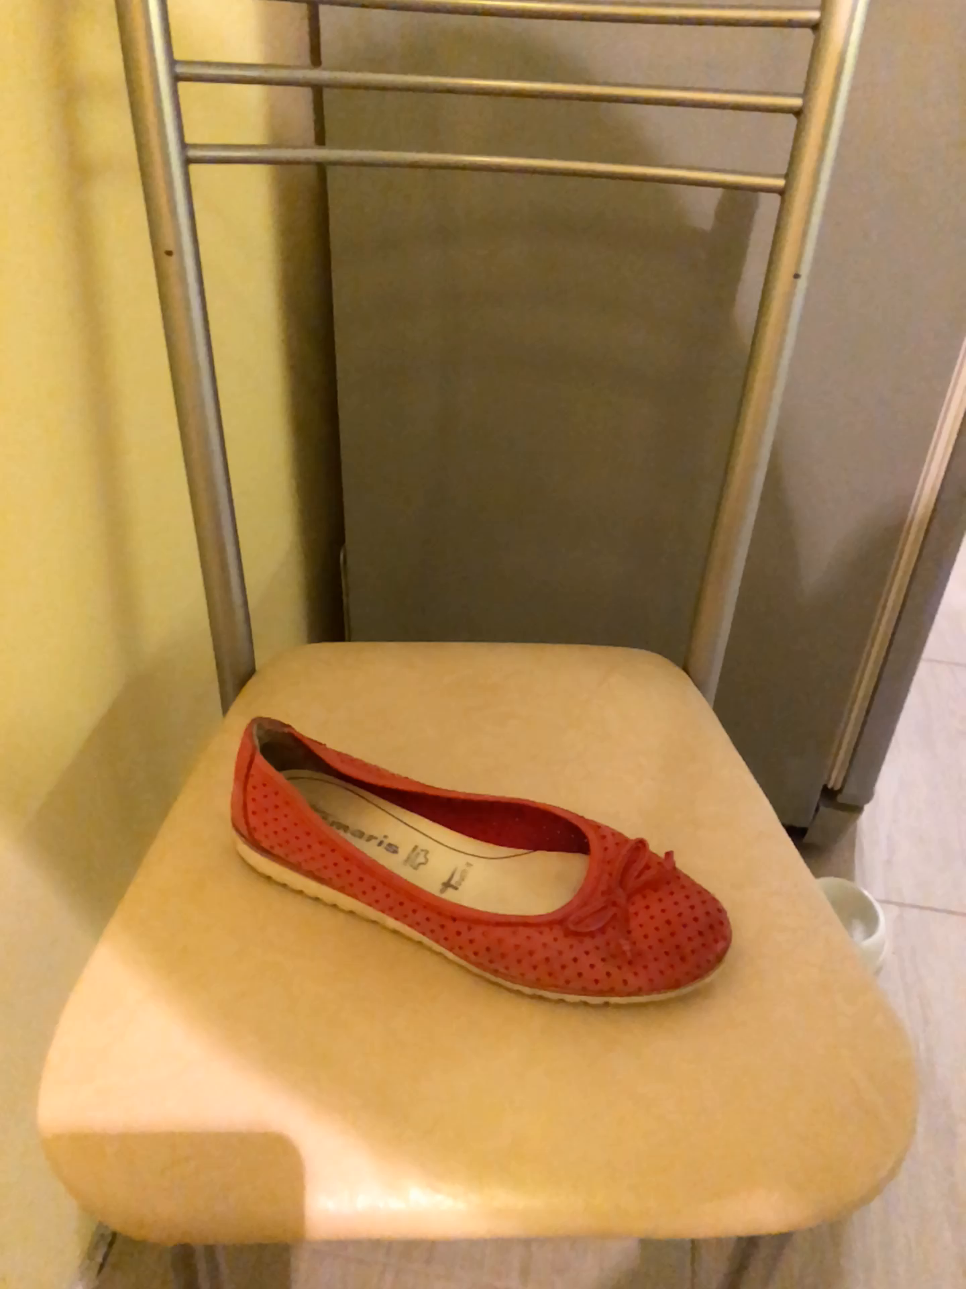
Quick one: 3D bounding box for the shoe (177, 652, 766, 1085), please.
[{"bbox_3d":[-0.007,0.097,0.506,0.250,0.080,0.101,16,39,16],"label":"shoe"}]
